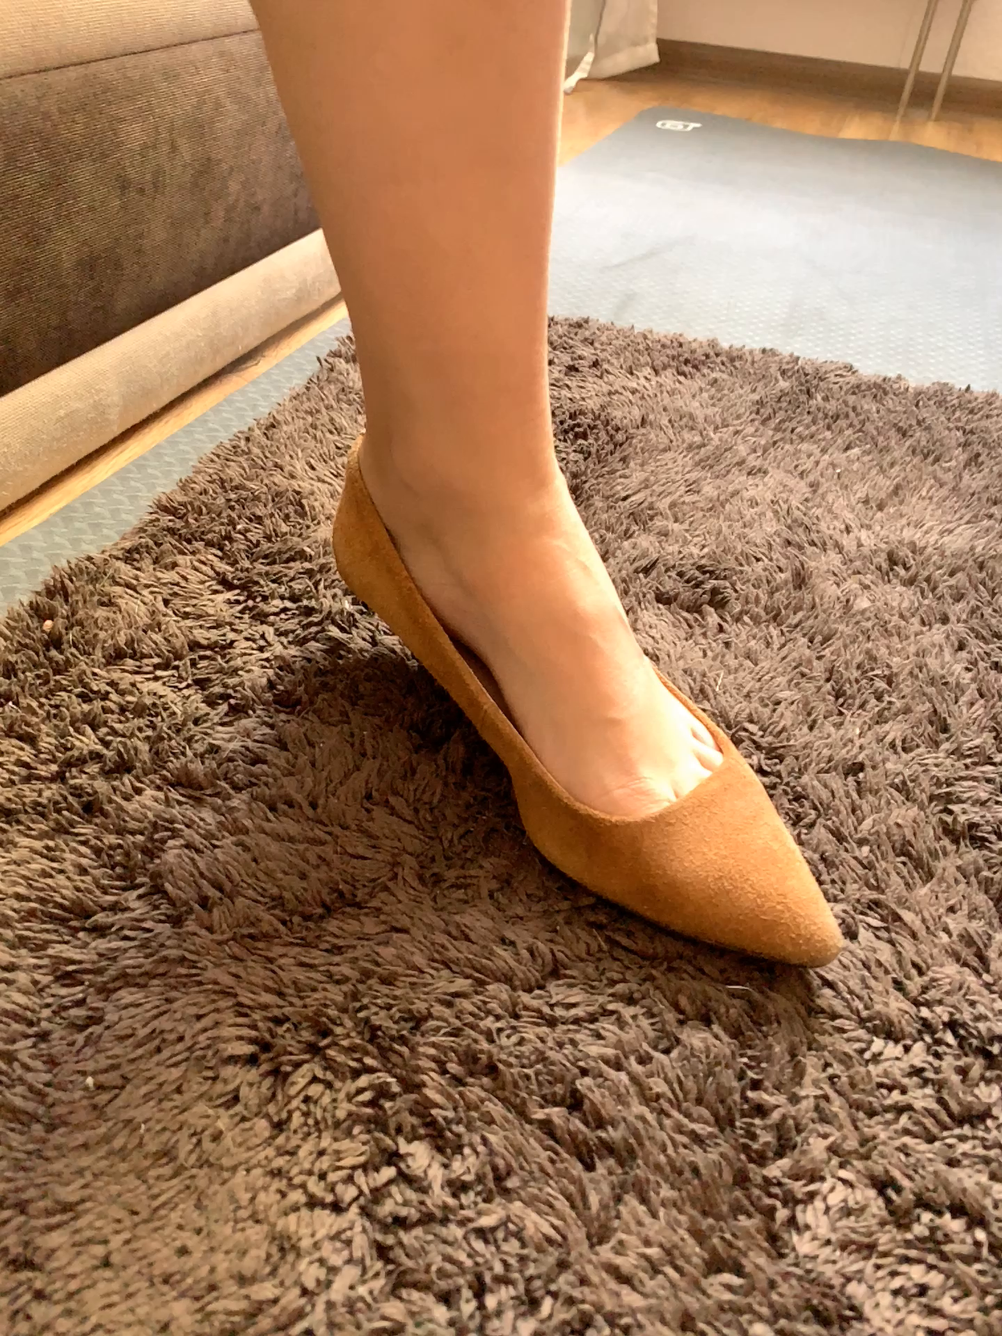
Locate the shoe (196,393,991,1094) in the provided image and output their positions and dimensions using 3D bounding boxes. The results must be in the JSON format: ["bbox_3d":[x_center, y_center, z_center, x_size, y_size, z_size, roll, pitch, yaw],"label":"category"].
[{"bbox_3d":[0.008,0.001,0.338,0.090,0.080,0.251,-27,48,-34],"label":"shoe"}]
